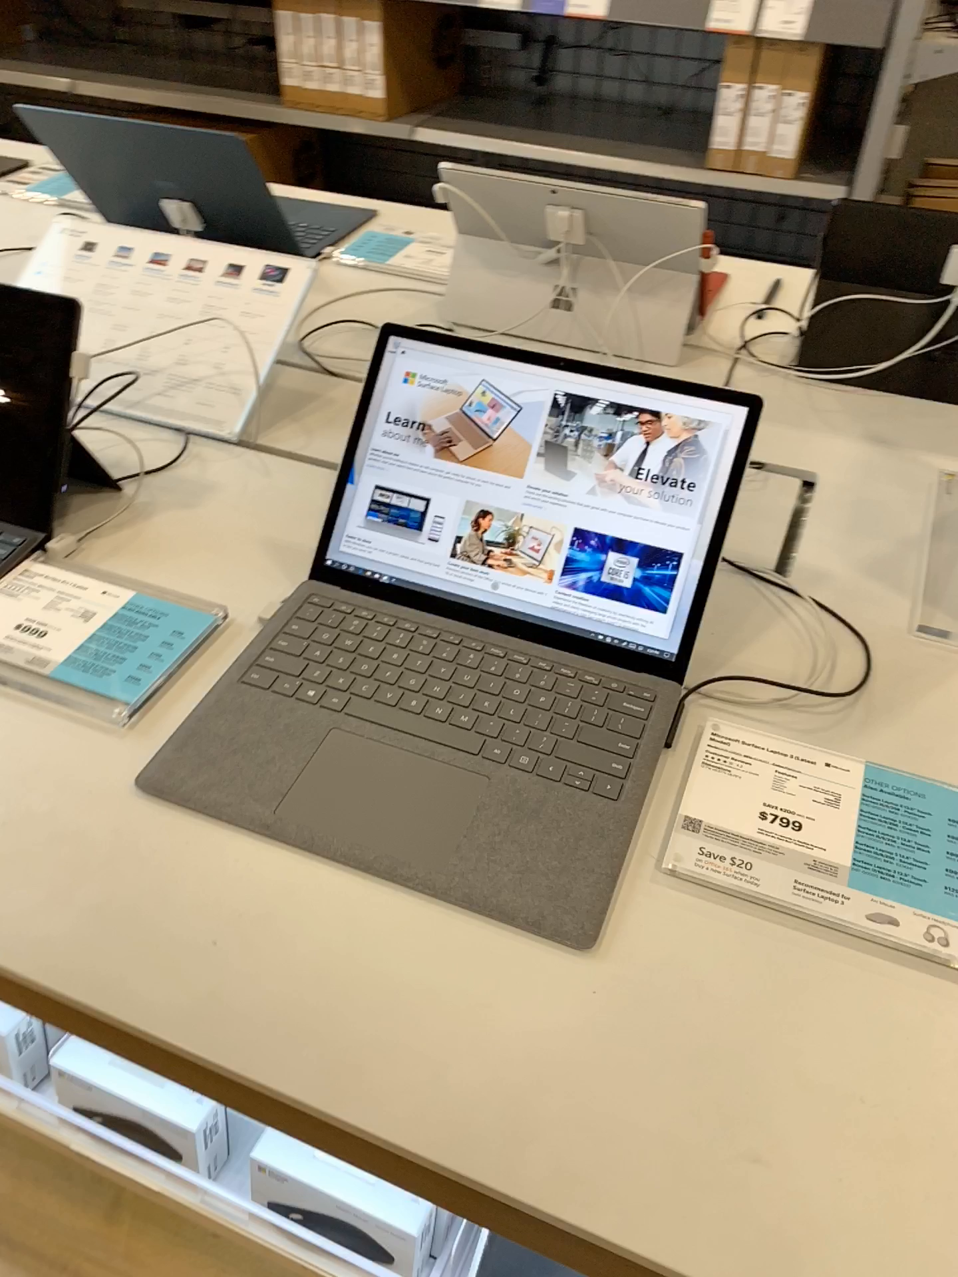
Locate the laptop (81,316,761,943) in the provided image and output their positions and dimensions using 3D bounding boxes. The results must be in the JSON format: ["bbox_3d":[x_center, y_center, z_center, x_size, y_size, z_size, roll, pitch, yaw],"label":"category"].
[{"bbox_3d":[-0.008,-0.044,0.662,0.296,0.148,0.375,16,45,16],"label":"laptop"}]

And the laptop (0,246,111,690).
[{"bbox_3d":[-0.509,-0.154,0.765,0.289,0.158,0.291,14,44,14],"label":"laptop"}]
